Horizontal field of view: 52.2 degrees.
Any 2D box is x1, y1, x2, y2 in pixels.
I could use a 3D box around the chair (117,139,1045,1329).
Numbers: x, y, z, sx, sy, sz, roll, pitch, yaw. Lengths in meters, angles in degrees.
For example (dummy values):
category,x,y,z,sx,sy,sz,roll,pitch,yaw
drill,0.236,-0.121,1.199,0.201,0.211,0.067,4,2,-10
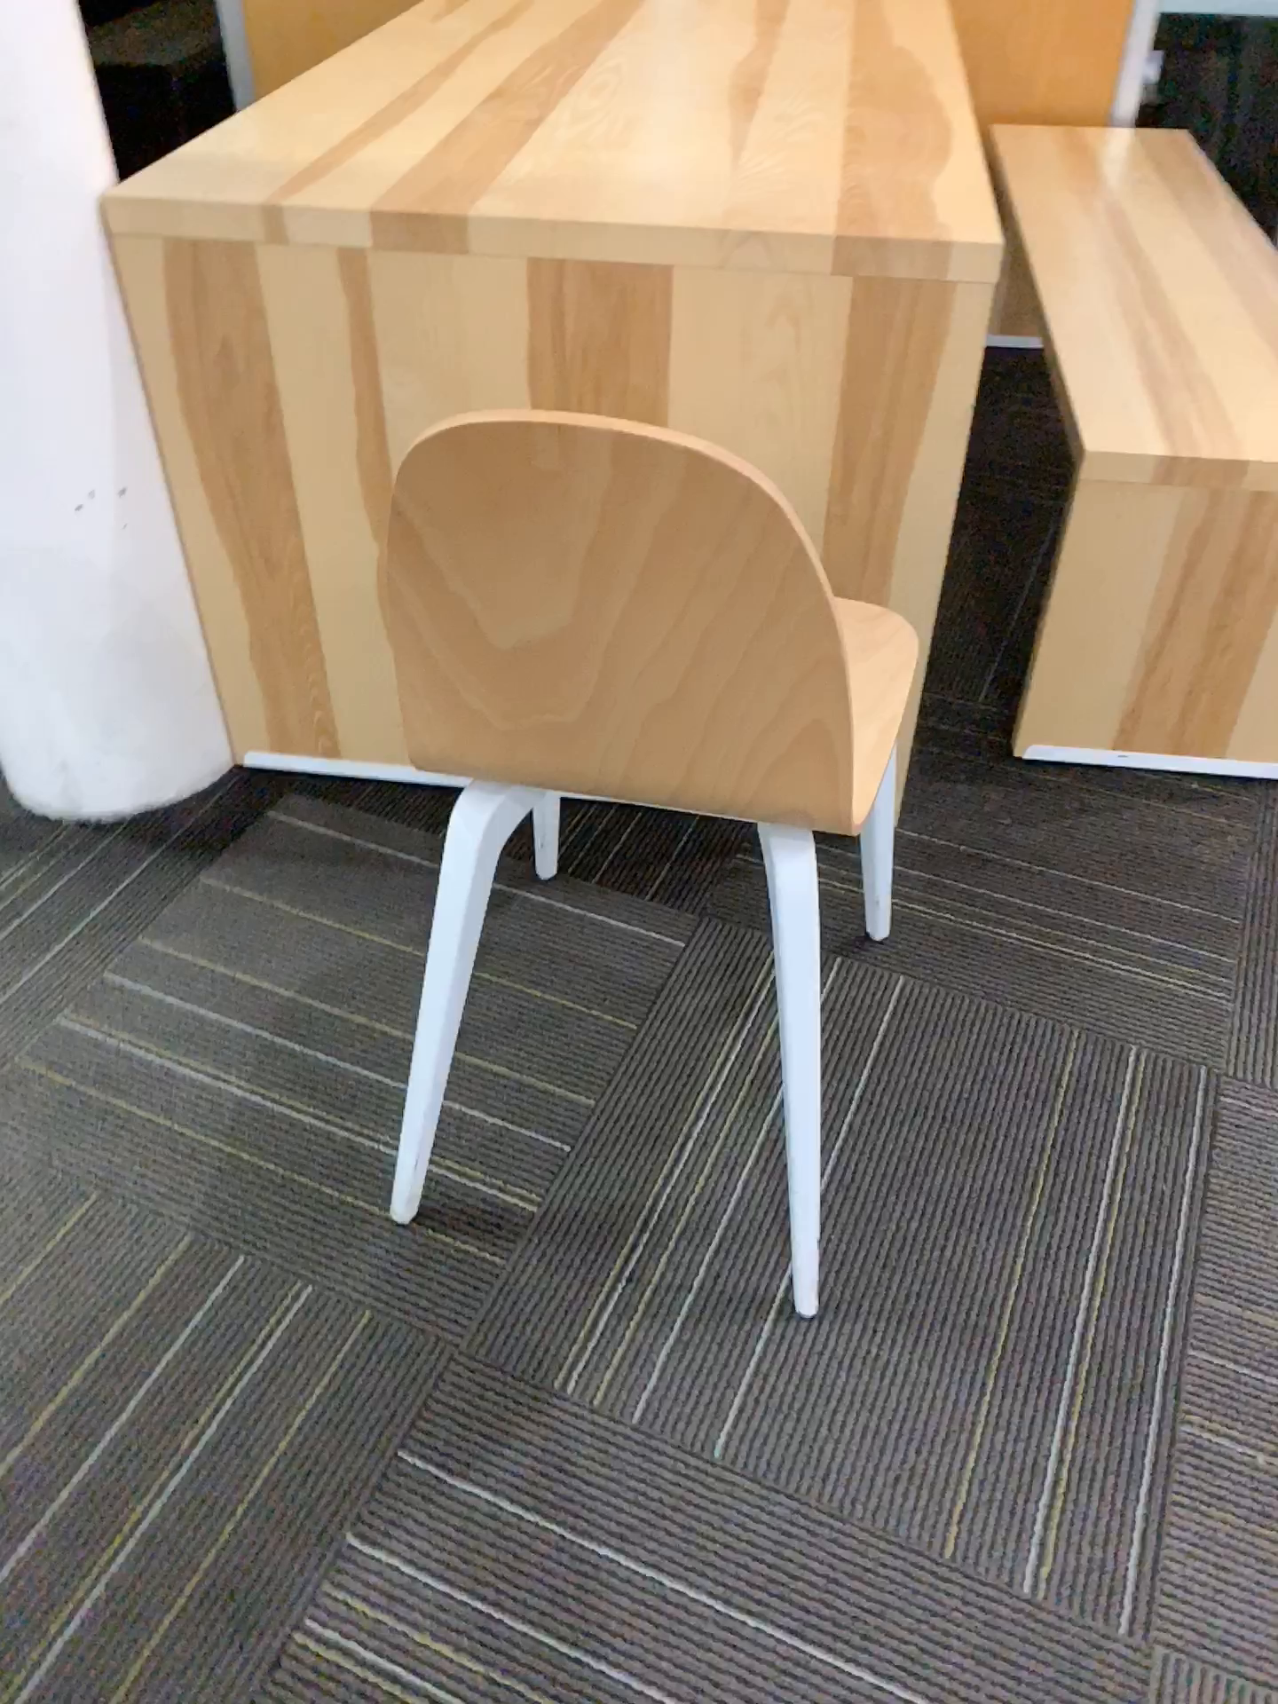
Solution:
category,x,y,z,sx,sy,sz,roll,pitch,yaw
chair,0.013,-0.095,1.151,0.500,0.815,0.553,9,41,9
